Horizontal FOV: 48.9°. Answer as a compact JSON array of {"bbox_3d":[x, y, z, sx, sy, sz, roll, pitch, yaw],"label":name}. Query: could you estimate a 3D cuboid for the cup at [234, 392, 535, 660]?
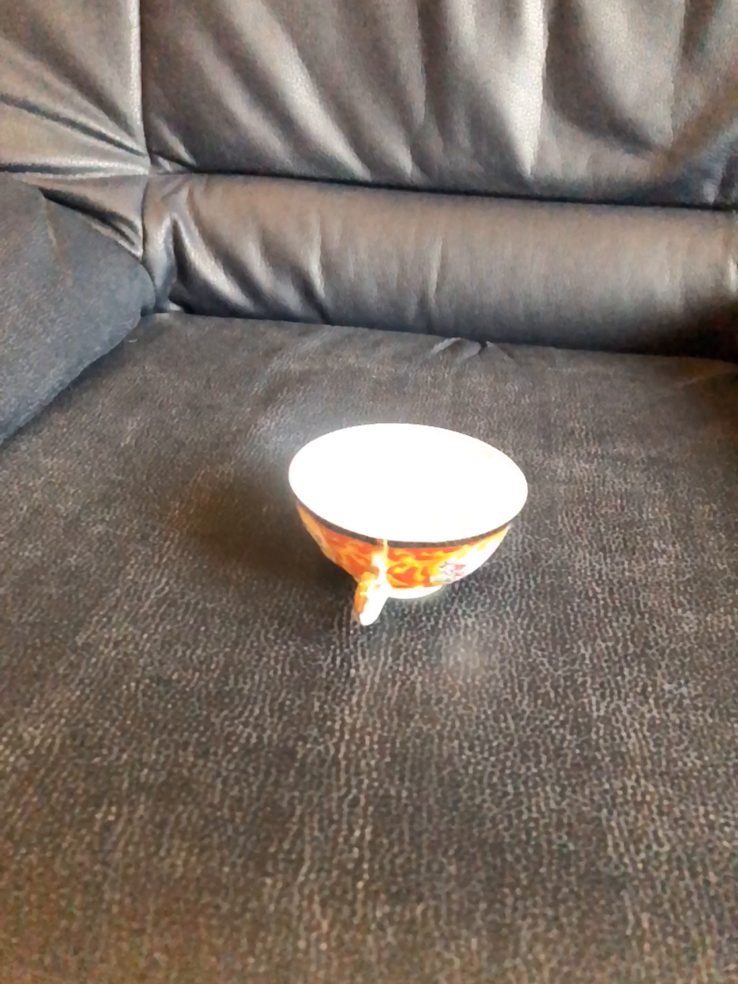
[{"bbox_3d":[0.012,0.007,0.331,0.100,0.041,0.108,2,32,-1],"label":"cup"}]
